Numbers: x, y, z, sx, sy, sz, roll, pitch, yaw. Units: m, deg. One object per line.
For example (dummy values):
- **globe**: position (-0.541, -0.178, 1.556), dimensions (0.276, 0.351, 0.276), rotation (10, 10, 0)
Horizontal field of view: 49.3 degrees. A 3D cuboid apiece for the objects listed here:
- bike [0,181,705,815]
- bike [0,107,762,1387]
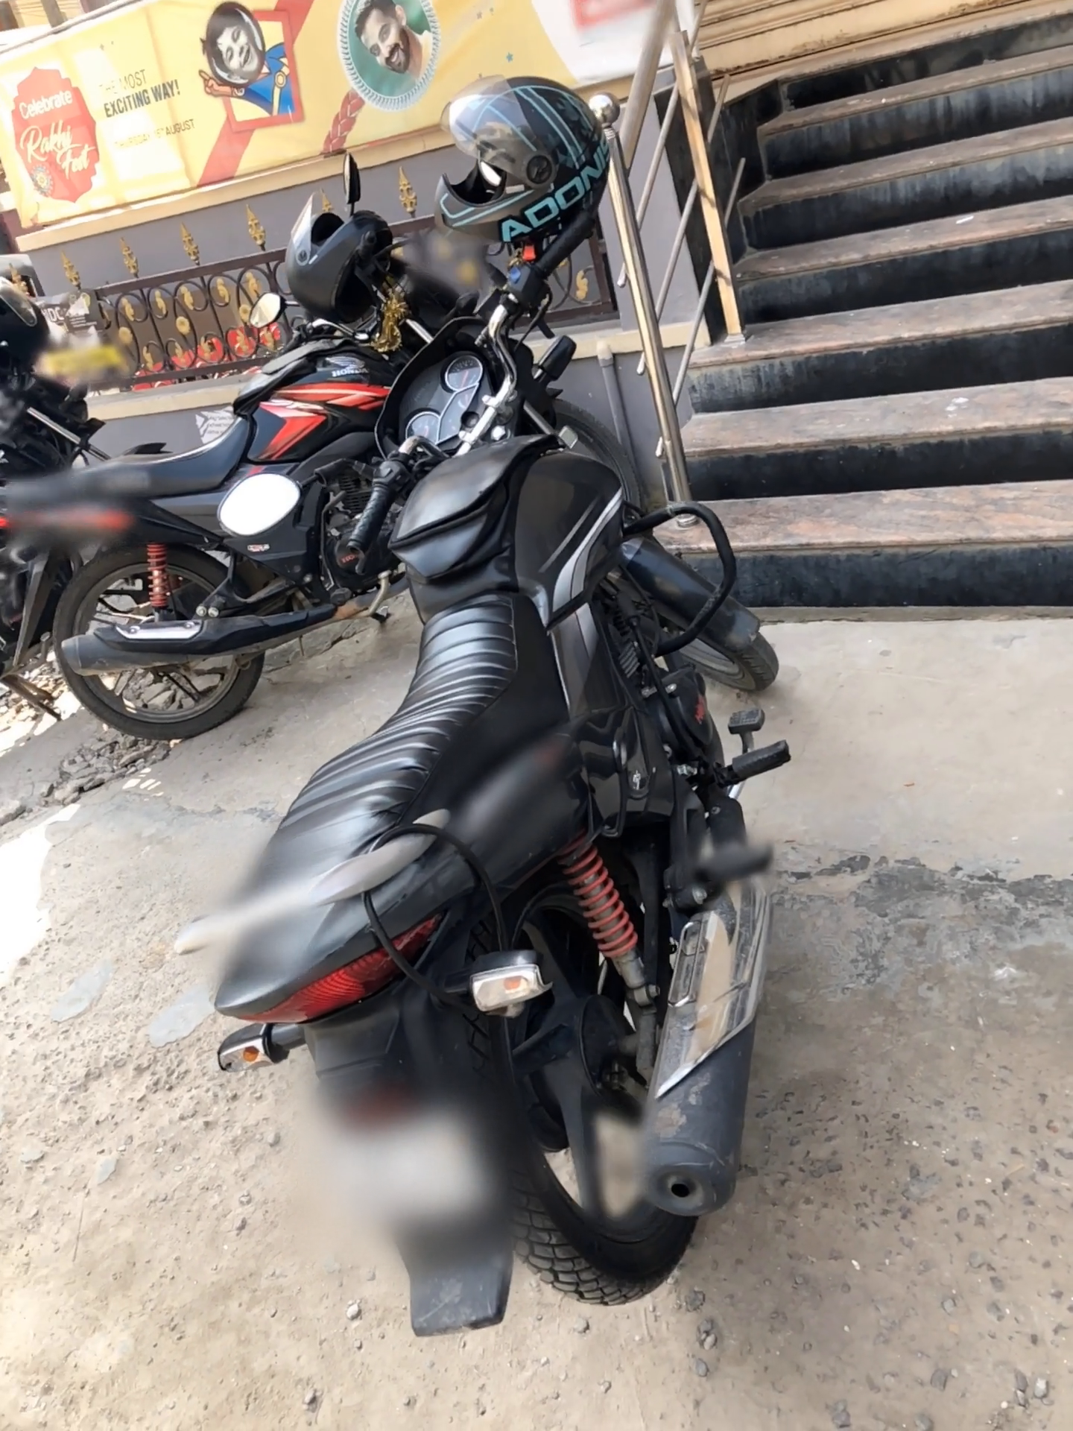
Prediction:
- **bike**: position (-0.522, -0.625, 3.077), dimensions (1.601, 1.057, 0.686), rotation (-23, 28, -16)
- **bike**: position (-0.189, -0.160, 1.928), dimensions (0.746, 1.156, 1.745), rotation (-10, 31, 12)
